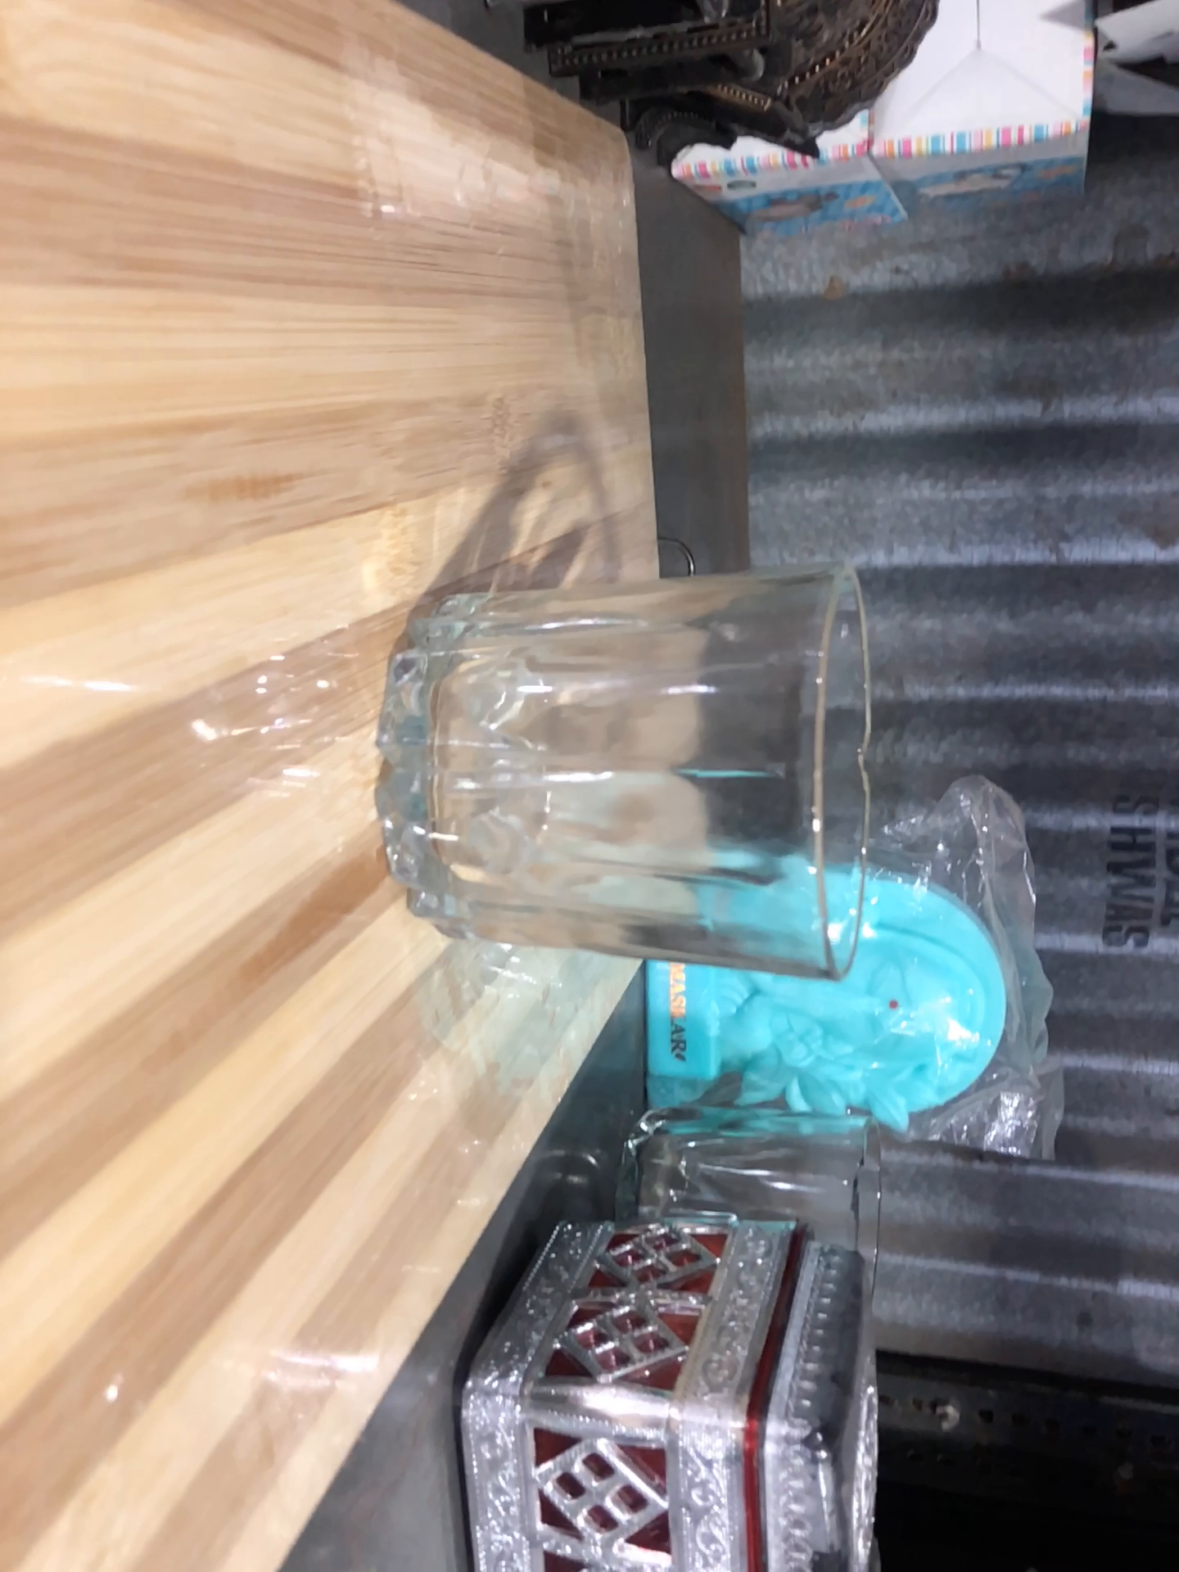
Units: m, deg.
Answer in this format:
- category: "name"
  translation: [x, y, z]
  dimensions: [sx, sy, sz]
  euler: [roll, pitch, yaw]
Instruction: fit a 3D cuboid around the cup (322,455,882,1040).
- category: "cup"
  translation: [0.011, -0.003, 0.247]
  dimensions: [0.080, 0.080, 0.080]
  euler: [1, 90, -74]
